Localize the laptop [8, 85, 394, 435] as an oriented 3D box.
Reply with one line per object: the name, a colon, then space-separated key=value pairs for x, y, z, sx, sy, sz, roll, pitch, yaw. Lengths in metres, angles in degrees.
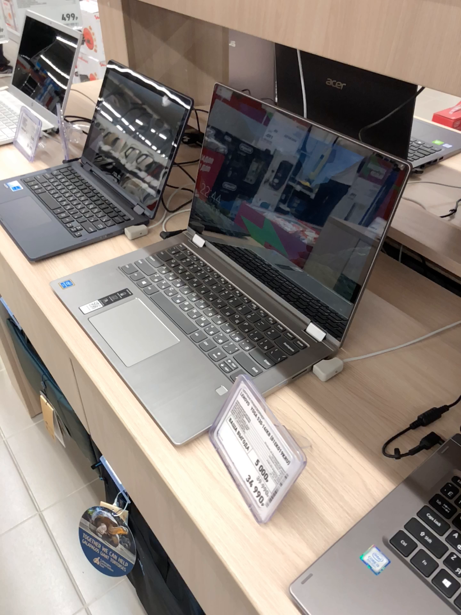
laptop: x=-0.043 y=-0.092 z=0.600 sx=0.287 sy=0.205 sz=0.312 roll=-25 pitch=46 yaw=-29
